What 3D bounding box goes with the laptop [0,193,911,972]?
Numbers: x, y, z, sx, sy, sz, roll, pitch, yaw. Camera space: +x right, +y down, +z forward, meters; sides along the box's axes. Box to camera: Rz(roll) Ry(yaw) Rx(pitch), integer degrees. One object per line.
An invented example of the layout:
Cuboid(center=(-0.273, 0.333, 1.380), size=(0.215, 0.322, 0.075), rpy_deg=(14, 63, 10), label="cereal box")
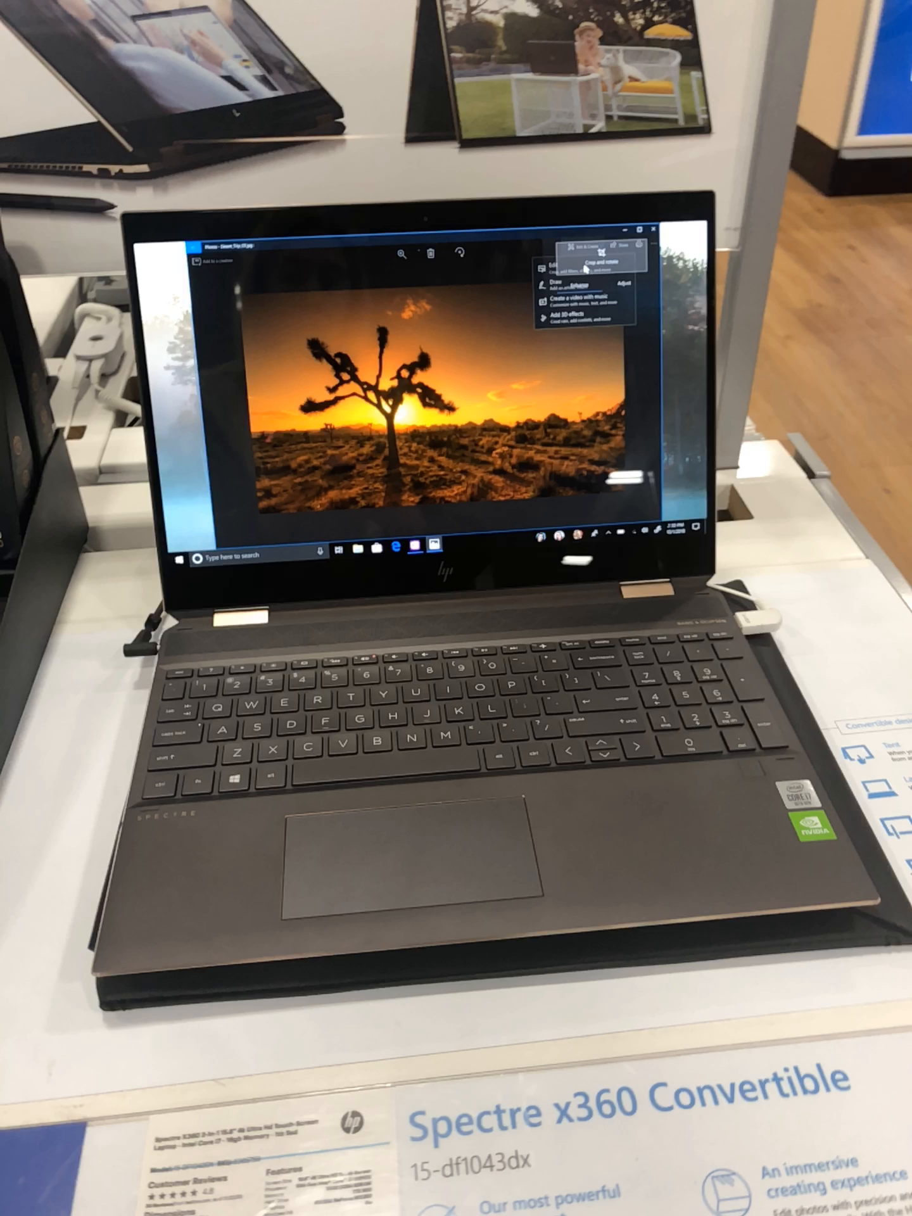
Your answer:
Cuboid(center=(-0.005, -0.049, 0.529), size=(0.348, 0.209, 0.361), rpy_deg=(-4, 39, -5), label="laptop")
